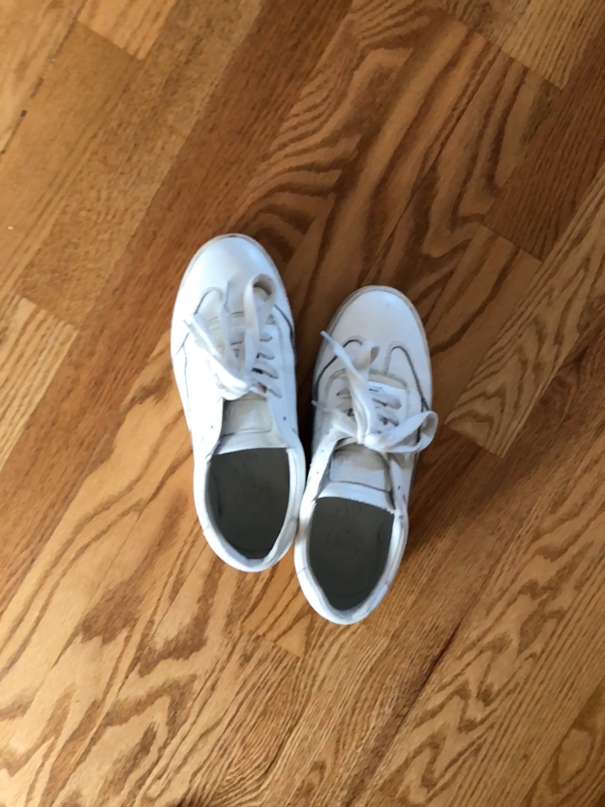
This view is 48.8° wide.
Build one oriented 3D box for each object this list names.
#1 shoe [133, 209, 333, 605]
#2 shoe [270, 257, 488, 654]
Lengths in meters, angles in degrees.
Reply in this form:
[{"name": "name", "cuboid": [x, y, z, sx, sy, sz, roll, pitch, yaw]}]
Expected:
[{"name": "shoe", "cuboid": [-0.047, 0.001, 0.506, 0.102, 0.104, 0.260, -7, 95, -1]}, {"name": "shoe", "cuboid": [0.050, 0.035, 0.509, 0.102, 0.107, 0.260, 10, 95, -2]}]
